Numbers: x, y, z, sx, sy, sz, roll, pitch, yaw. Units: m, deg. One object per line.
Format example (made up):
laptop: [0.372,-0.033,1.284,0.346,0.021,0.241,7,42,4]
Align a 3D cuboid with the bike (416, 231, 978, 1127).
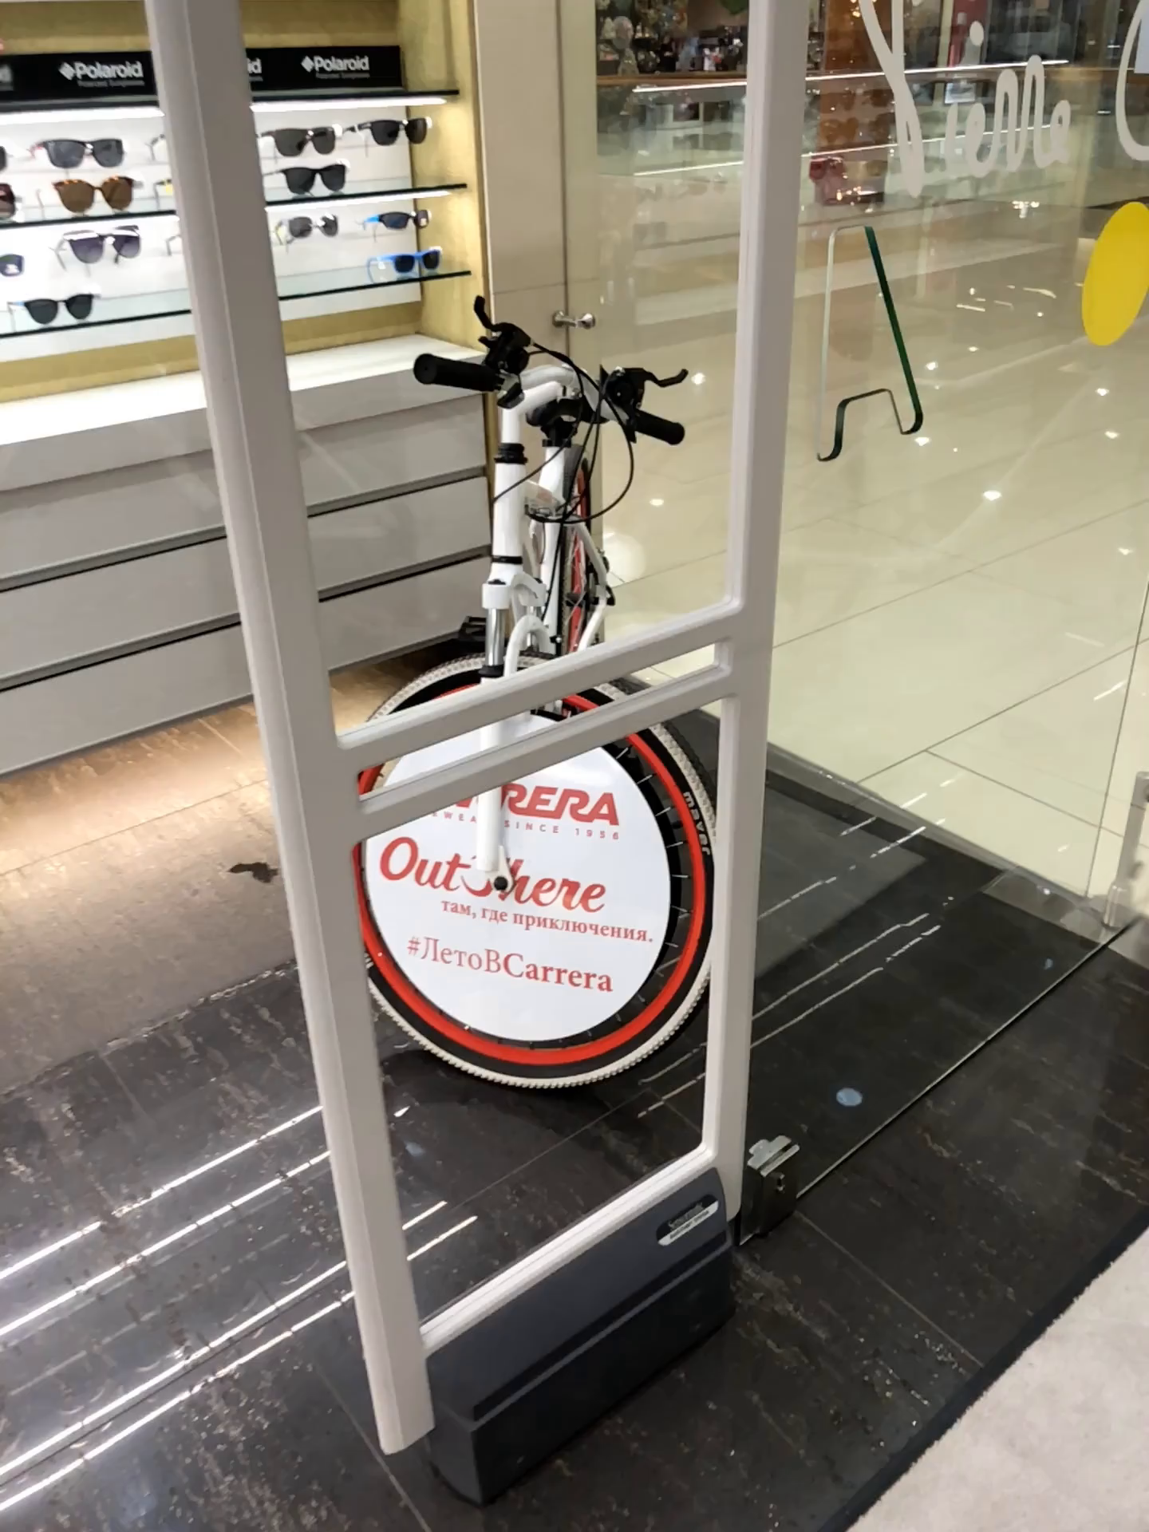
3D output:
bike: [0.083,-0.286,2.198,0.592,0.947,1.389,-5,31,-5]
